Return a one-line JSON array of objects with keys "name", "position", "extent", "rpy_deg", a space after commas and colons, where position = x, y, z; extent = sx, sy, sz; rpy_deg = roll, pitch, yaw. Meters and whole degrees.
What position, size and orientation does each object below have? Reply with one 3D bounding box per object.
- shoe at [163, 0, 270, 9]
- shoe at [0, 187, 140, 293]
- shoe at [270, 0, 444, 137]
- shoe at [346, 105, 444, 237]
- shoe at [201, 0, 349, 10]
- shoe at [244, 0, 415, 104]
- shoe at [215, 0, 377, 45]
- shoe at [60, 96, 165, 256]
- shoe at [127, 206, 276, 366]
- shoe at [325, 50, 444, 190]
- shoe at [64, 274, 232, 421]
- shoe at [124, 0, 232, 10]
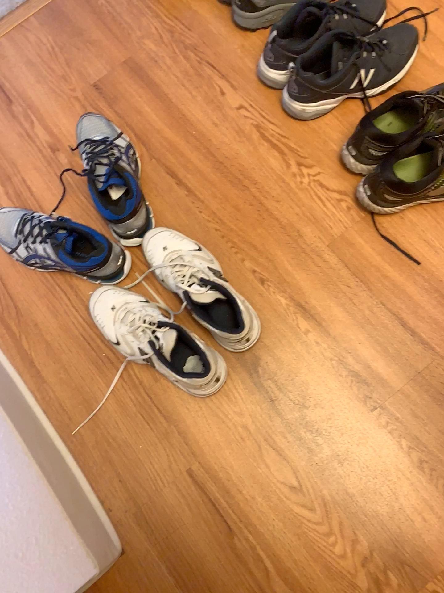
[{"name": "shoe", "position": [-0.008, -0.816, 1.065], "extent": [0.080, 0.080, 0.270], "rpy_deg": [41, 83, 14]}, {"name": "shoe", "position": [-0.321, -0.109, 0.881], "extent": [0.290, 0.080, 0.110], "rpy_deg": [17, 78, 11]}, {"name": "shoe", "position": [0.261, -0.456, 0.893], "extent": [0.310, 0.100, 0.120], "rpy_deg": [-26, 74, -1]}, {"name": "shoe", "position": [0.410, -0.230, 0.853], "extent": [0.310, 0.110, 0.110], "rpy_deg": [-18, 74, 2]}, {"name": "shoe", "position": [0.115, -0.771, 1.007], "extent": [0.300, 0.090, 0.100], "rpy_deg": [-25, 74, 0]}, {"name": "shoe", "position": [0.212, -0.545, 0.925], "extent": [0.310, 0.100, 0.120], "rpy_deg": [-31, 74, -2]}, {"name": "shoe", "position": [0.155, -0.687, 0.982], "extent": [0.310, 0.090, 0.120], "rpy_deg": [-25, 74, 0]}, {"name": "shoe", "position": [-0.219, -0.240, 0.905], "extent": [0.110, 0.080, 0.290], "rpy_deg": [-21, 74, 1]}, {"name": "shoe", "position": [-0.032, -0.015, 0.823], "extent": [0.110, 0.130, 0.260], "rpy_deg": [-41, 75, -5]}, {"name": "shoe", "position": [0.363, -0.334, 0.875], "extent": [0.290, 0.110, 0.110], "rpy_deg": [-24, 74, 0]}, {"name": "shoe", "position": [-0.127, 0.096, 0.828], "extent": [0.270, 0.130, 0.110], "rpy_deg": [35, 82, 14]}, {"name": "shoe", "position": [-0.100, -0.826, 1.084], "extent": [0.080, 0.080, 0.270], "rpy_deg": [41, 83, 14]}]
